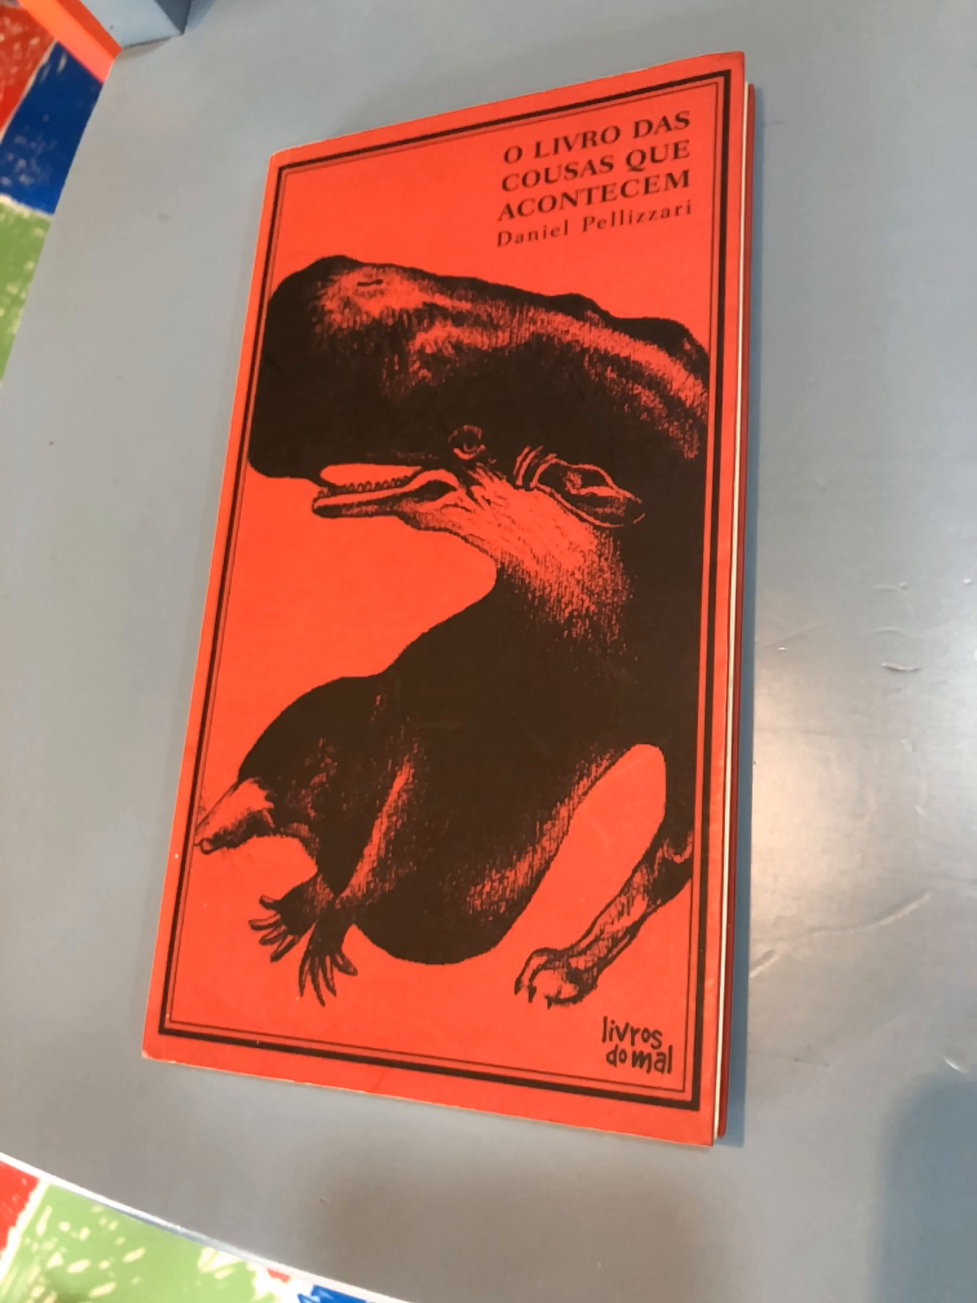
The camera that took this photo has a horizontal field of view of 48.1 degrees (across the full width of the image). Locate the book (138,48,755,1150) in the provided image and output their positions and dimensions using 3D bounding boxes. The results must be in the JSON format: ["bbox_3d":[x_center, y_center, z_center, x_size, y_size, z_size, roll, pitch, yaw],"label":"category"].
[{"bbox_3d":[-0.006,-0.018,0.219,0.110,0.016,0.200,-1,75,23],"label":"book"}]
